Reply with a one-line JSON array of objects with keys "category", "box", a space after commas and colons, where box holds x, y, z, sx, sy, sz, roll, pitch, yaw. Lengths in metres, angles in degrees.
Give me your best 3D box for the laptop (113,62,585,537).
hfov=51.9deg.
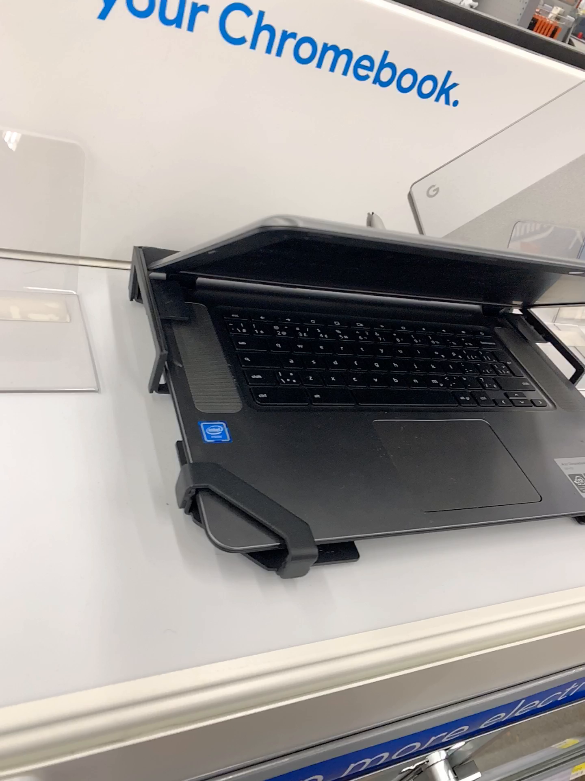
[{"category": "laptop", "box": [0.073, -0.049, 0.337, 0.301, 0.116, 0.194, 1, 44, -26]}]
